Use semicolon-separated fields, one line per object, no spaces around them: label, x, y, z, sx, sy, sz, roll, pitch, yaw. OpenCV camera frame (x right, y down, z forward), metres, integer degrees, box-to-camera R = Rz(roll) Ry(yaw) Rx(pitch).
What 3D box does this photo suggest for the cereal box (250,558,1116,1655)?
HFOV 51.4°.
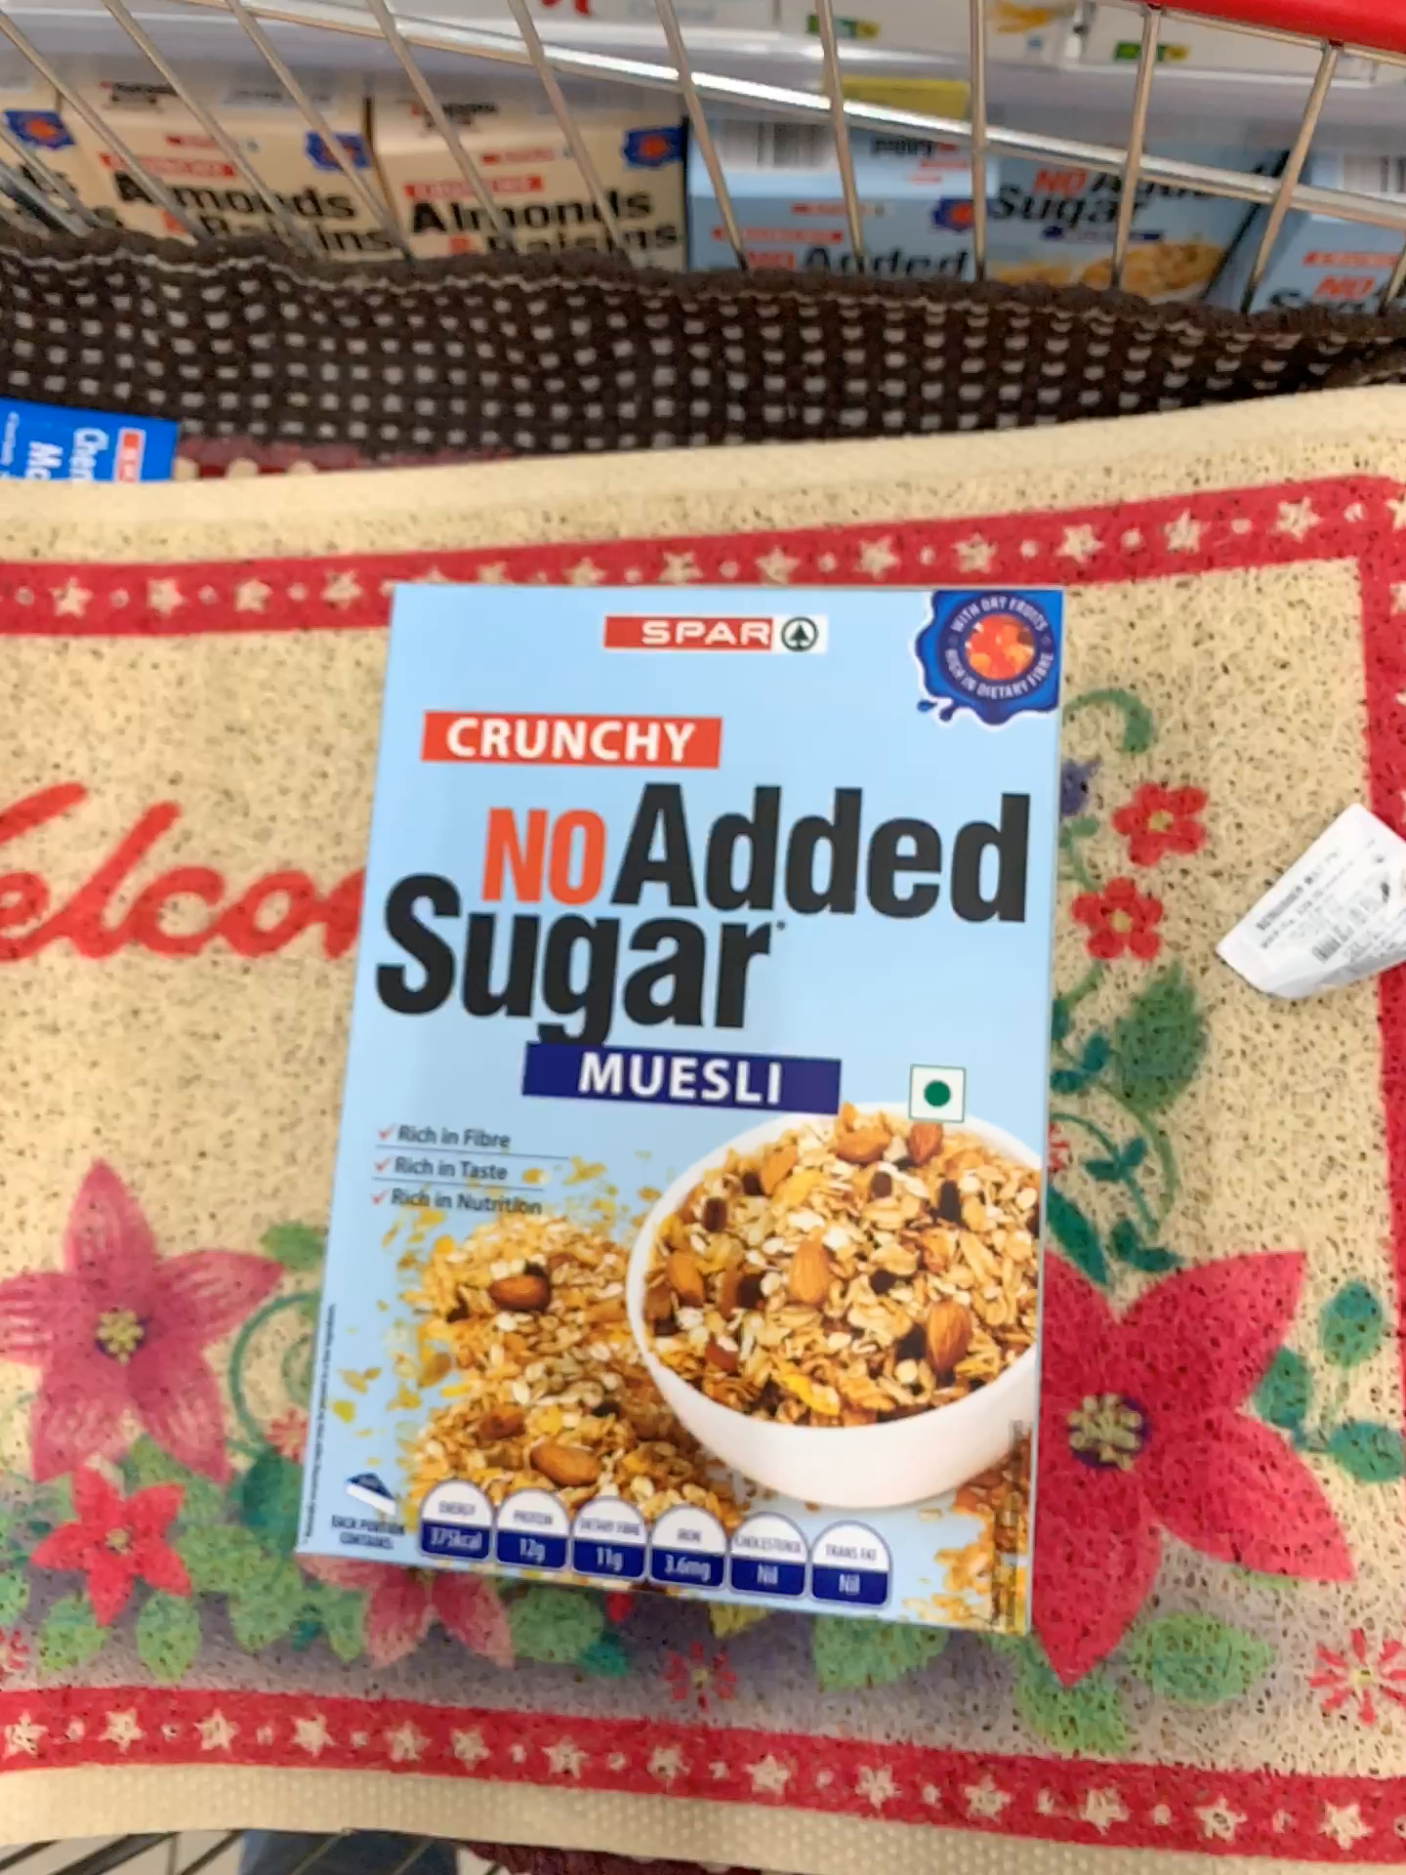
cereal box;0.000;0.030;0.347;0.180;0.050;0.230;2;81;9
